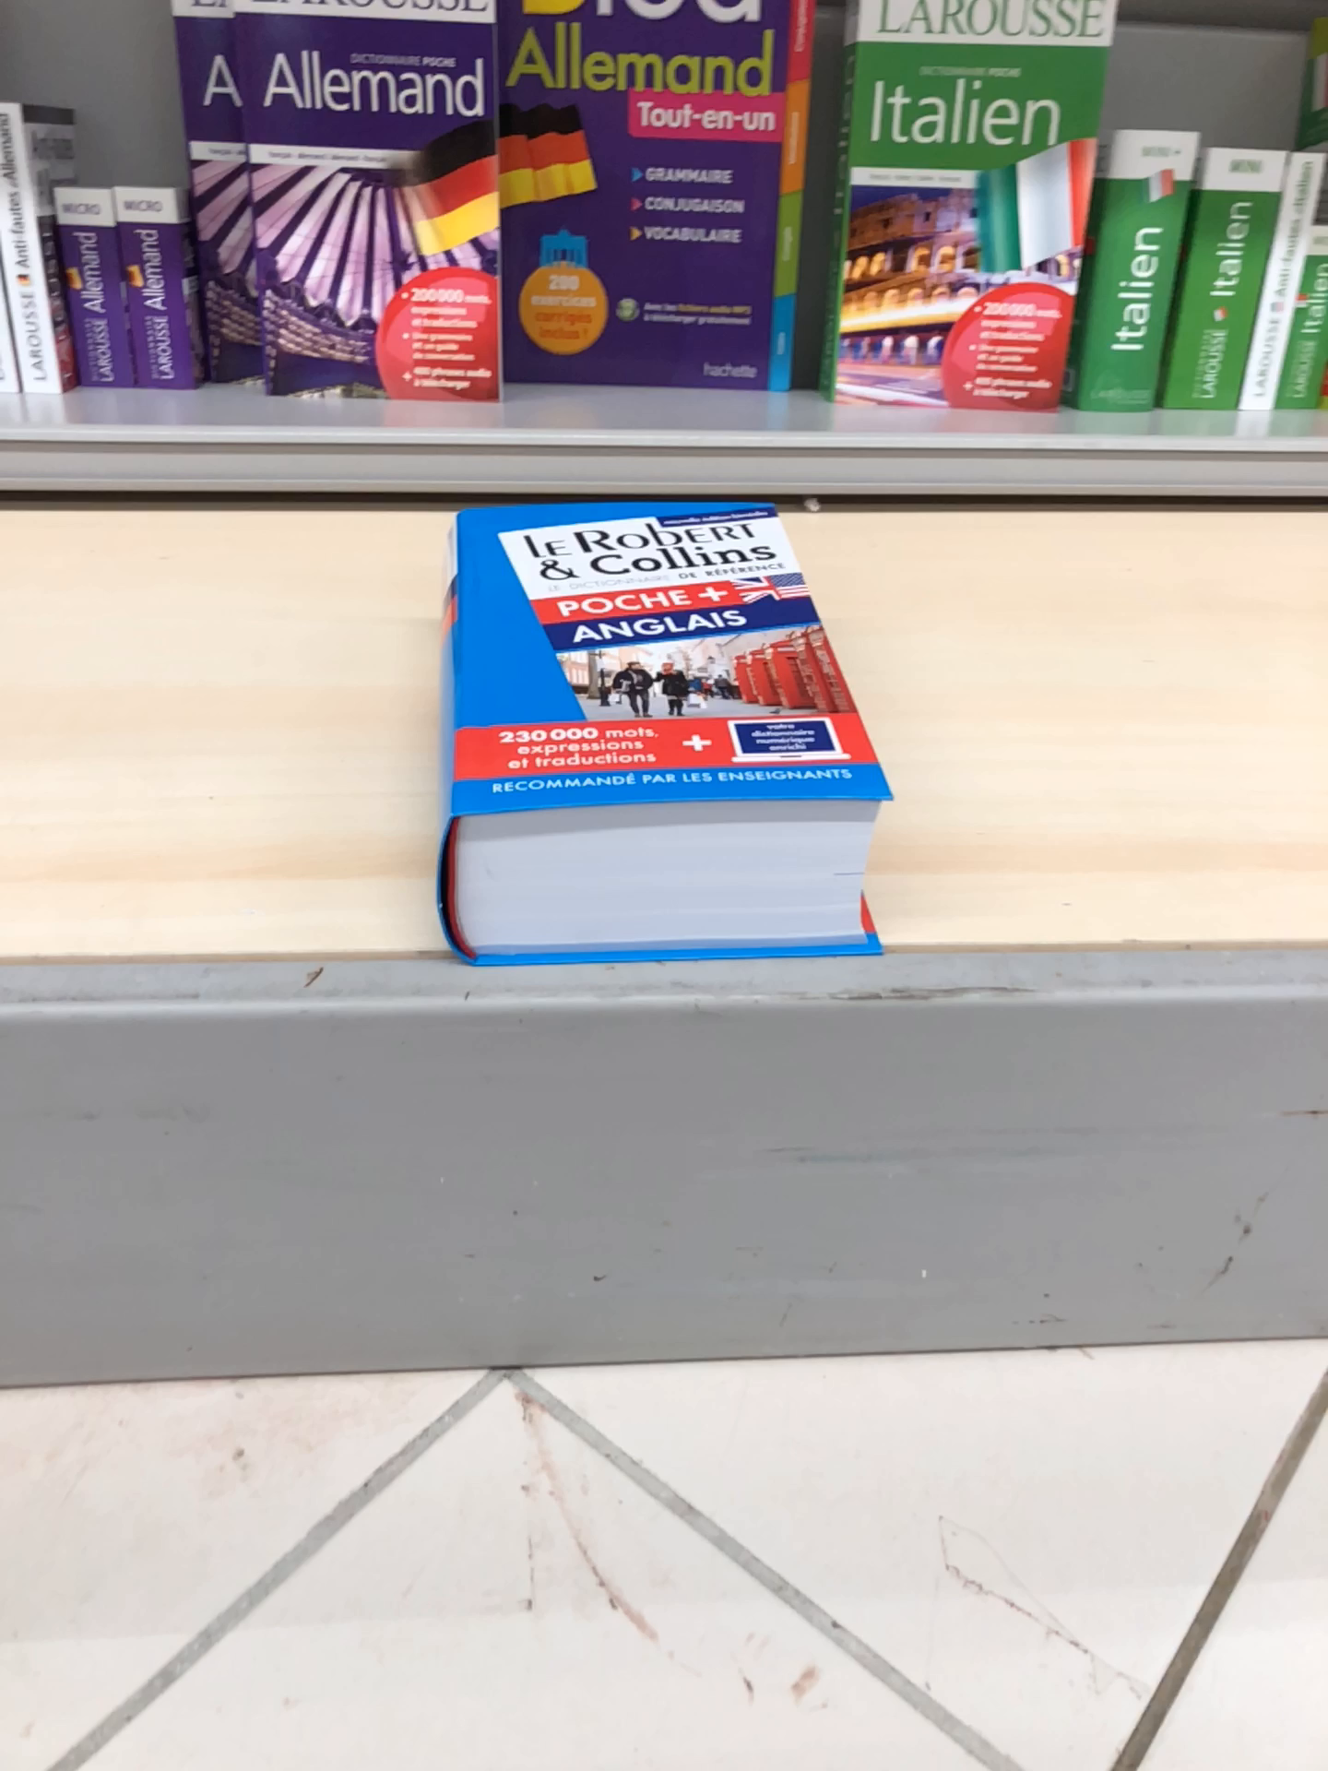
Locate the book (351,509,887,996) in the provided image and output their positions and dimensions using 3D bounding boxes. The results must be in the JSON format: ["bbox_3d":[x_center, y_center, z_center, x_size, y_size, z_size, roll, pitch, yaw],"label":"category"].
[{"bbox_3d":[-0.020,-0.050,0.436,0.128,0.051,0.184,-2,38,-6],"label":"book"}]
